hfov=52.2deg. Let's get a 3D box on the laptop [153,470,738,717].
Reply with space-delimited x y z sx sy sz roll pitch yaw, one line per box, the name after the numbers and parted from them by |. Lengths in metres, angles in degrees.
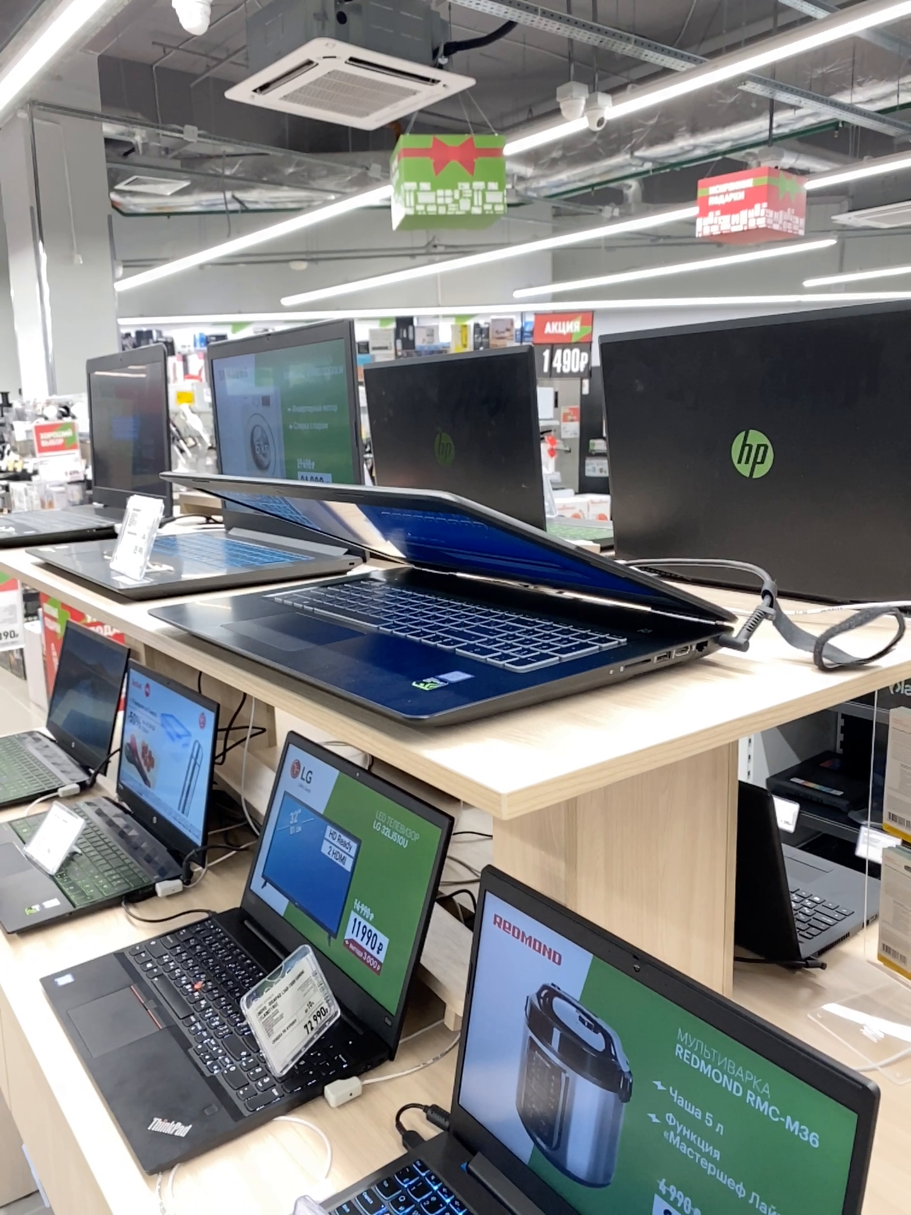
-0.032 -0.041 0.708 0.263 0.103 0.397 -11 14 -36 | laptop
